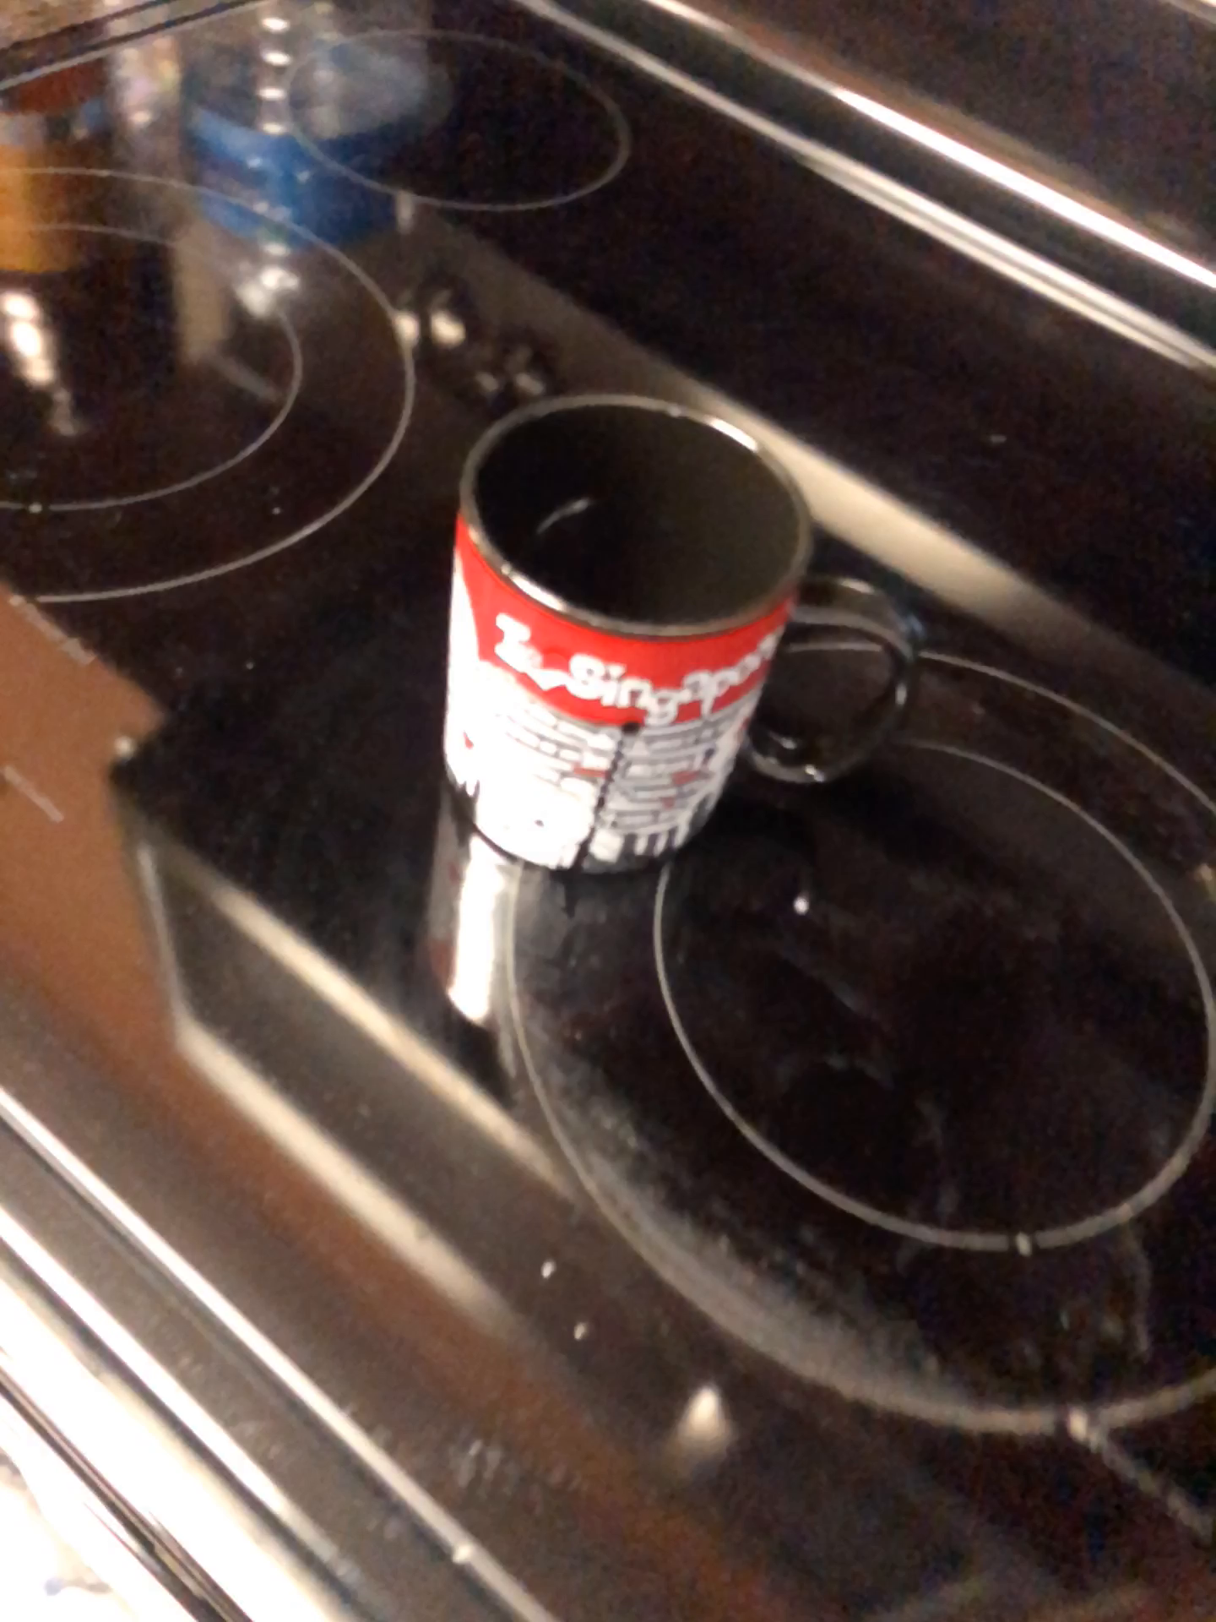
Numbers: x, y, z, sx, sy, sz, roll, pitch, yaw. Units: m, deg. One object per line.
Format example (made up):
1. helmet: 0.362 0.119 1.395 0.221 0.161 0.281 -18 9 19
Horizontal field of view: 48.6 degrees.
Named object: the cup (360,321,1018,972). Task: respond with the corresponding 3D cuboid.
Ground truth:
1. cup: 0.018 -0.038 0.326 0.130 0.090 0.090 15 52 0
